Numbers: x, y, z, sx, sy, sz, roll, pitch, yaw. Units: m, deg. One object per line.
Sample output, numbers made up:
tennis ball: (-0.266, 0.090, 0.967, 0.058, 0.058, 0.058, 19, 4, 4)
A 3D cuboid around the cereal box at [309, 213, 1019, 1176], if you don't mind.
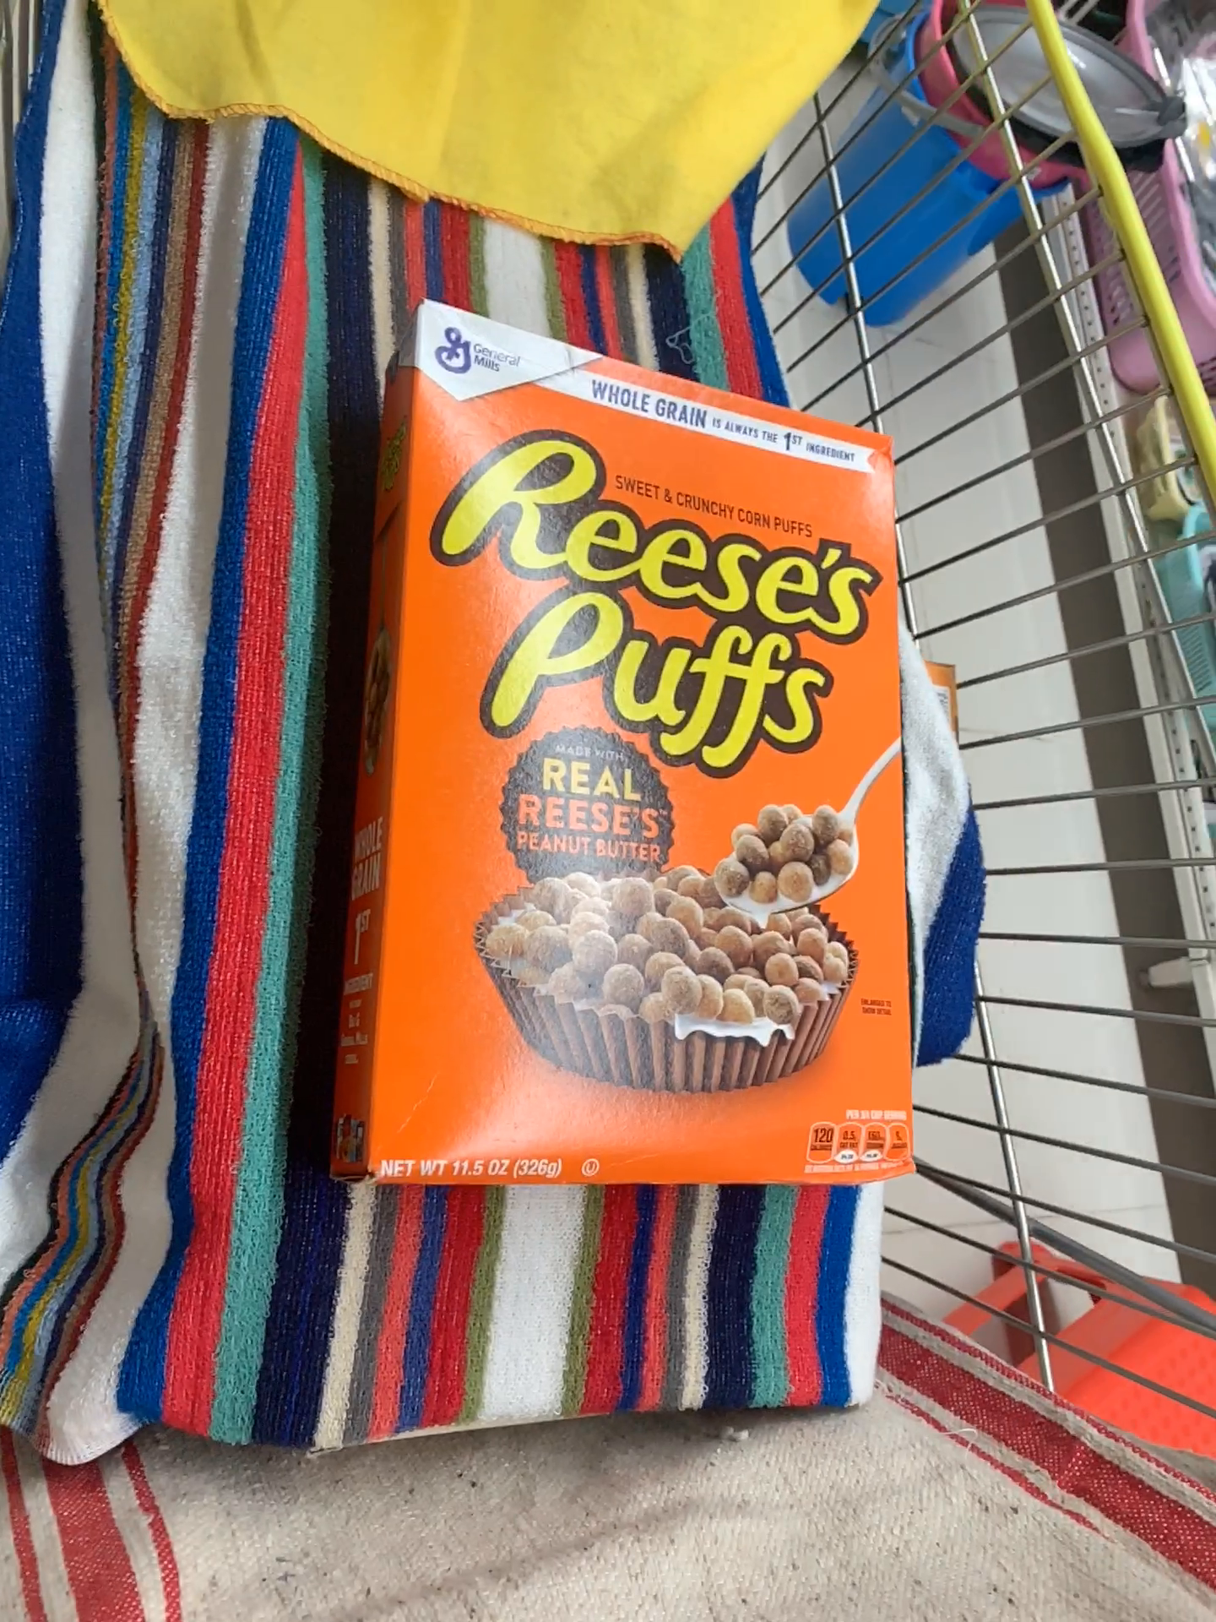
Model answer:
cereal box: (0.025, -0.022, 0.402, 0.200, 0.080, 0.260, 8, 78, -25)
